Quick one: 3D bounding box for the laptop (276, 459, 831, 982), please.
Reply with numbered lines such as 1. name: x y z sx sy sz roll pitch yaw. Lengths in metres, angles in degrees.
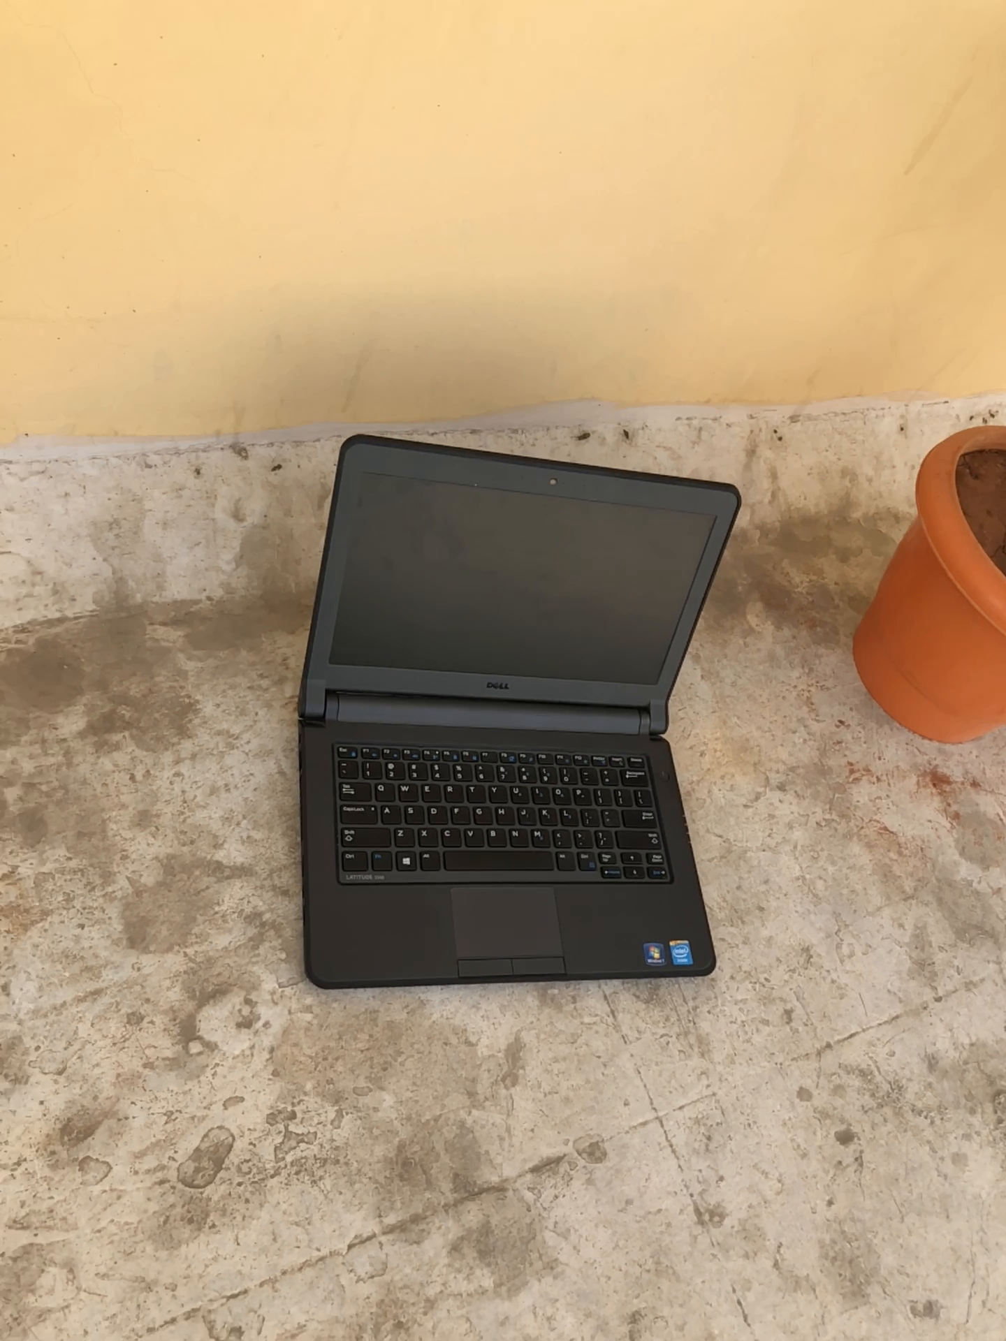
1. laptop: 0.007 0.040 0.808 0.309 0.208 0.300 3 54 -18
